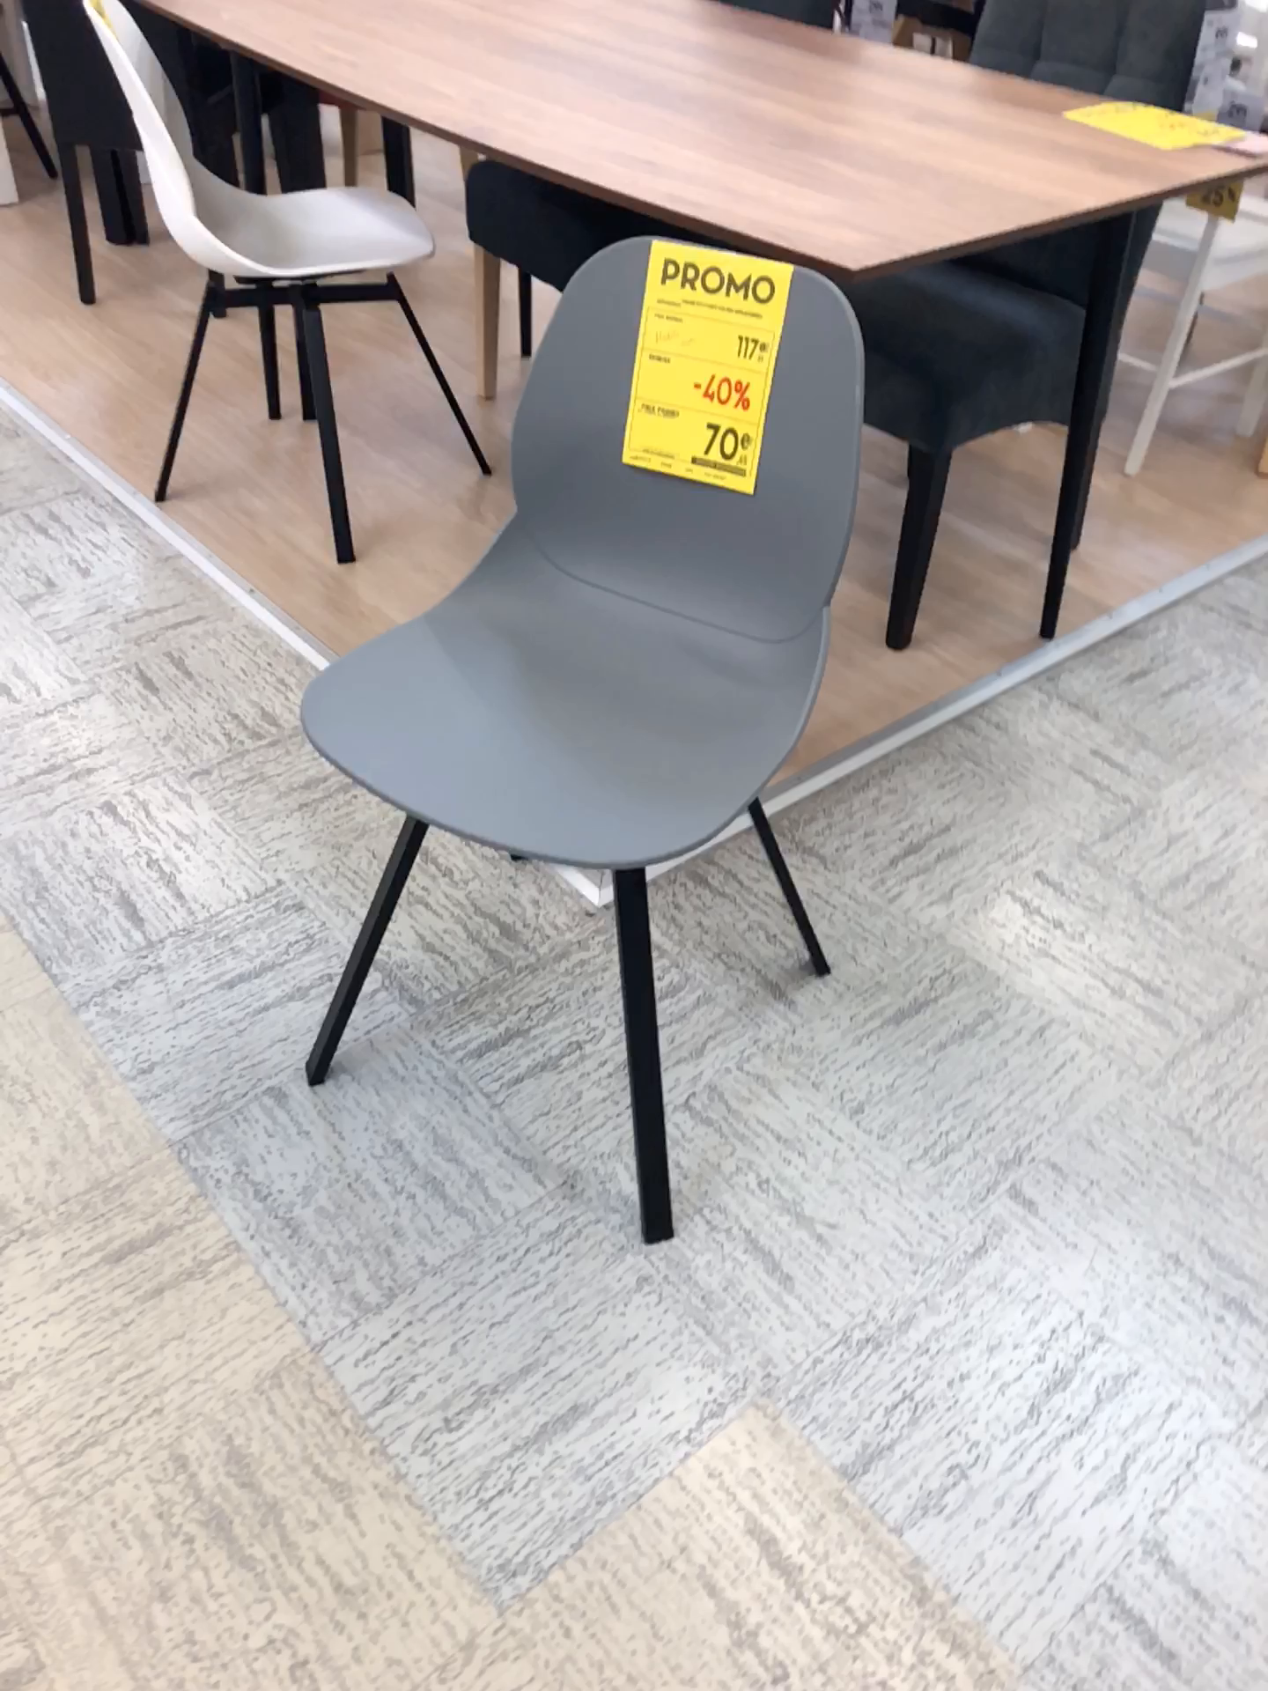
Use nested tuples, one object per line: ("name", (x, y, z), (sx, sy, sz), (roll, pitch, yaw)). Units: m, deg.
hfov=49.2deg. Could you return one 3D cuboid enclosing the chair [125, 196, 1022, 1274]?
("chair", (-0.021, -0.127, 1.359), (0.510, 0.755, 0.584), (19, 42, 19))
